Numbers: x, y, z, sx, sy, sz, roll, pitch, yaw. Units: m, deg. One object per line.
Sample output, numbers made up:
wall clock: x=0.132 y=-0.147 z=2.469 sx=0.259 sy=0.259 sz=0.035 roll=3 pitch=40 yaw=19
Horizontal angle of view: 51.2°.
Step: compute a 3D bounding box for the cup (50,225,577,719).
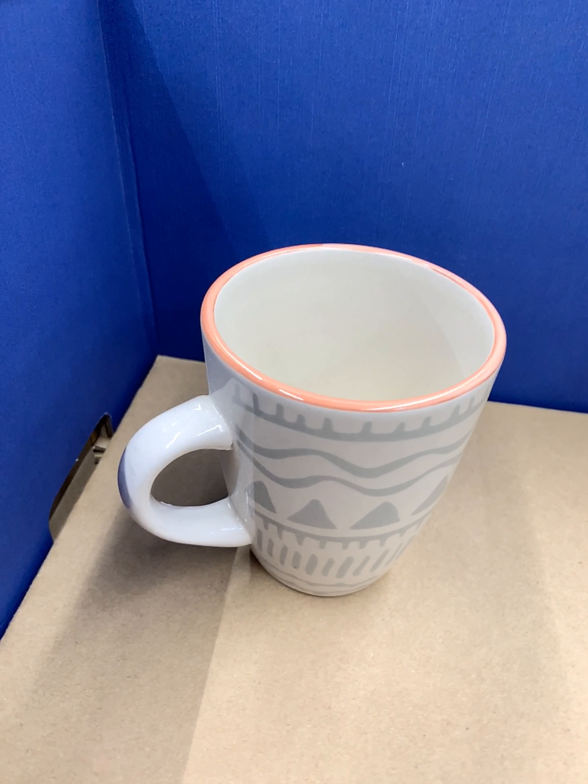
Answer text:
cup: x=0.003 y=0.013 z=0.202 sx=0.119 sy=0.082 sz=0.097 roll=-21 pitch=43 yaw=-28
